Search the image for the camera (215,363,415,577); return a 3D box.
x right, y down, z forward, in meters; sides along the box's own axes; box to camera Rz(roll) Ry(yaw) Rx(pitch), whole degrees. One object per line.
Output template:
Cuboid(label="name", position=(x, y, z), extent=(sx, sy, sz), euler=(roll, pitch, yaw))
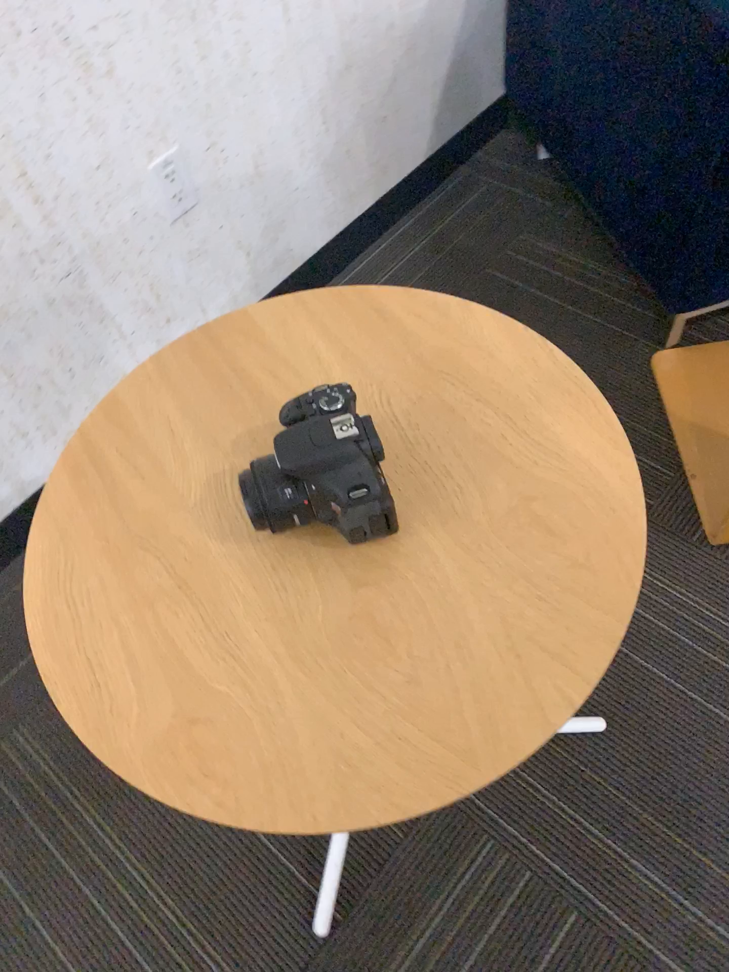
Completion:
Cuboid(label="camera", position=(-0.040, -0.014, 0.611), extent=(0.125, 0.080, 0.120), euler=(-19, 57, -4))
